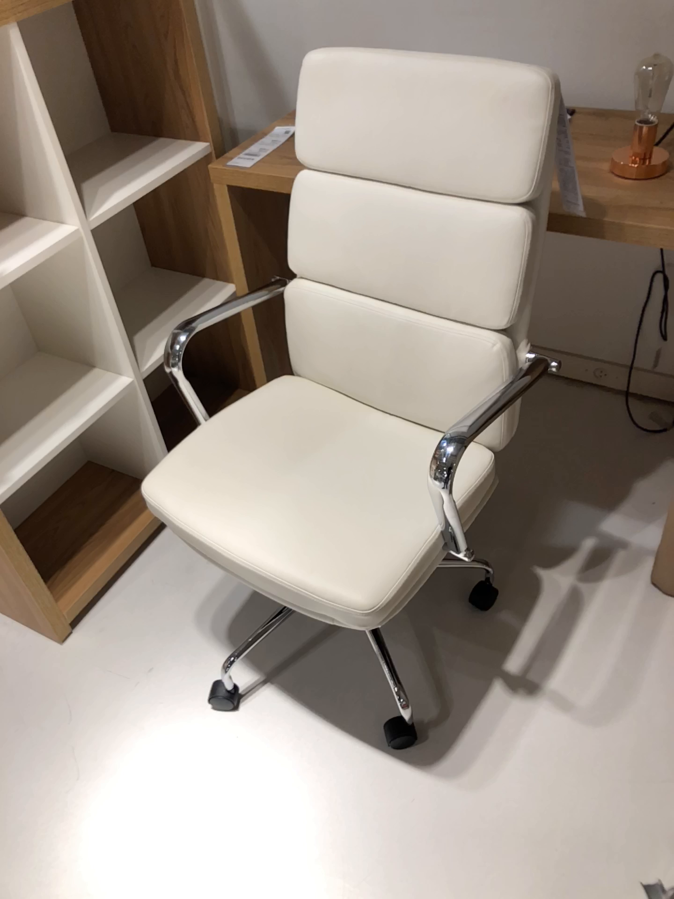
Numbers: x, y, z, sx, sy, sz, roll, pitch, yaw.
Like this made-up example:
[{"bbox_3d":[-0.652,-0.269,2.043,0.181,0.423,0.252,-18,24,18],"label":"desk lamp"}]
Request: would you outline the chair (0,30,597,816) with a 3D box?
[{"bbox_3d":[-0.043,-0.047,1.291,0.641,1.032,0.684,19,49,27],"label":"chair"}]
